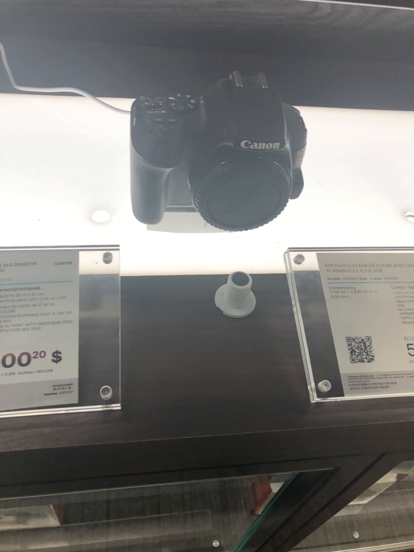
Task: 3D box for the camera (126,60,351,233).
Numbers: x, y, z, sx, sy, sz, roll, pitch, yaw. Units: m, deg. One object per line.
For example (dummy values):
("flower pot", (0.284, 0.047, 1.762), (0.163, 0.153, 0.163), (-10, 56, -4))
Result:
("camera", (0.011, -0.082, 0.297), (0.123, 0.071, 0.081), (-1, 49, -10))
